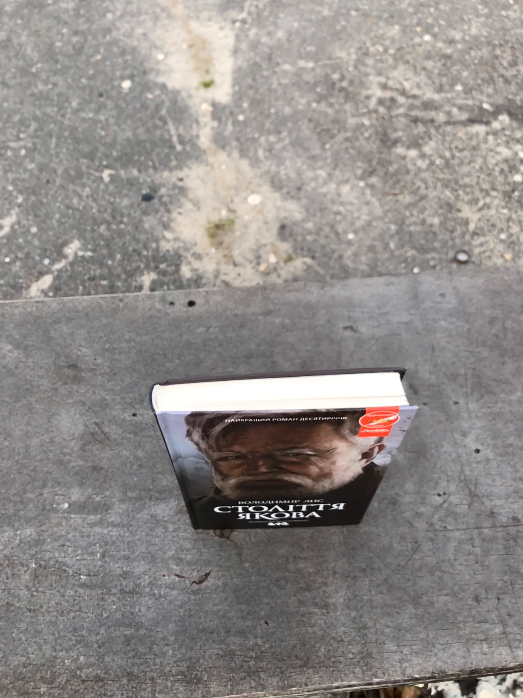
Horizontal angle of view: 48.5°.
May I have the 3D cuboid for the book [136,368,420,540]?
[{"bbox_3d":[0.009,0.081,0.384,0.140,0.212,0.030,-1,57,0],"label":"book"}]
